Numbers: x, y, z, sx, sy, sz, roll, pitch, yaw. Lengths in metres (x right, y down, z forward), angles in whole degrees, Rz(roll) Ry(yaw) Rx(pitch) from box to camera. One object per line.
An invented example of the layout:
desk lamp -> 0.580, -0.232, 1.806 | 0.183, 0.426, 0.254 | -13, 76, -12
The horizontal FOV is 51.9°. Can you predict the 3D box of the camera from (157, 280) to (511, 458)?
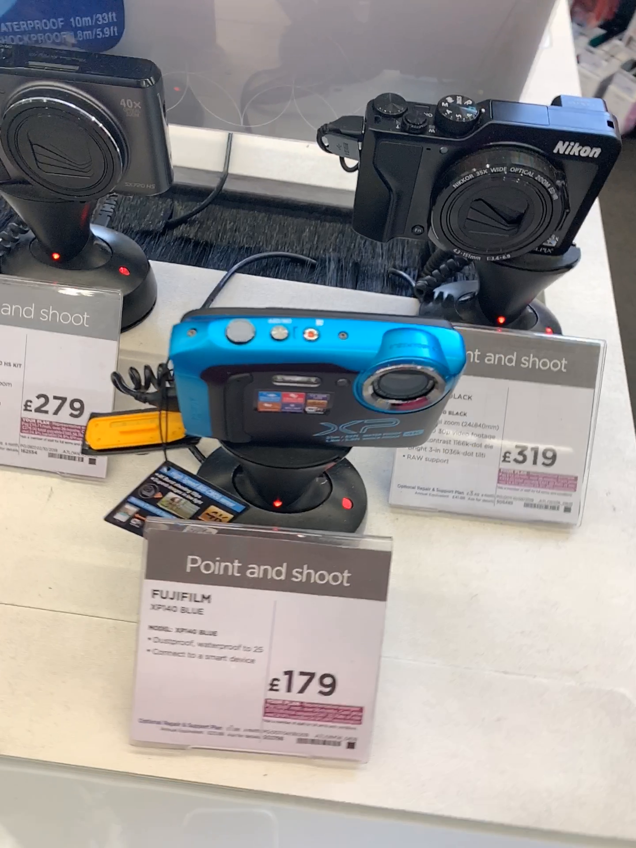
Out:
camera -> 0.004, -0.017, 0.235 | 0.110, 0.060, 0.030 | 2, 59, -4
